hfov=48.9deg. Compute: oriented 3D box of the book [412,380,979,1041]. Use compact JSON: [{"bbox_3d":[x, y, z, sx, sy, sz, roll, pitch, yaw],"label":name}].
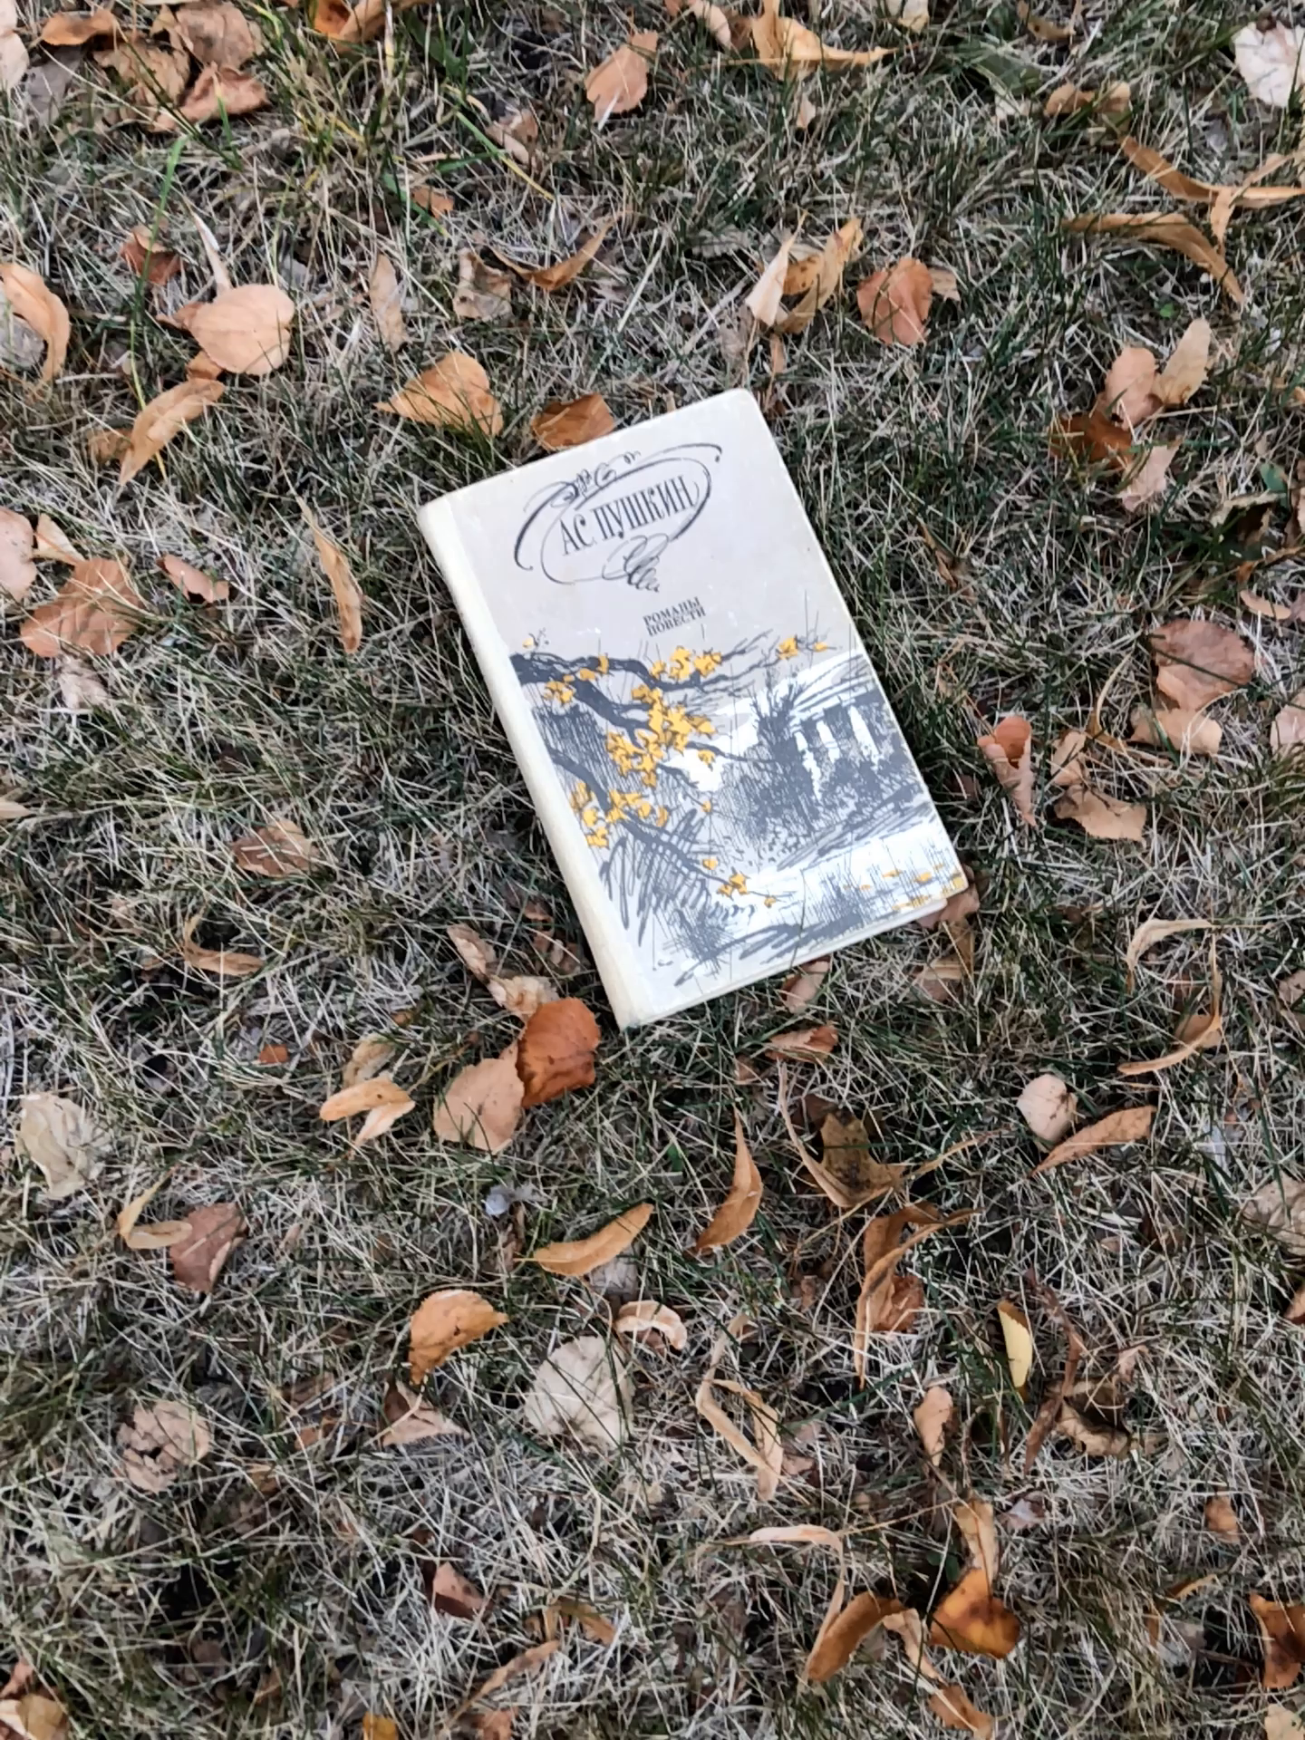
[{"bbox_3d":[0.014,-0.061,0.529,0.135,0.021,0.210,-22,84,-9],"label":"book"}]
